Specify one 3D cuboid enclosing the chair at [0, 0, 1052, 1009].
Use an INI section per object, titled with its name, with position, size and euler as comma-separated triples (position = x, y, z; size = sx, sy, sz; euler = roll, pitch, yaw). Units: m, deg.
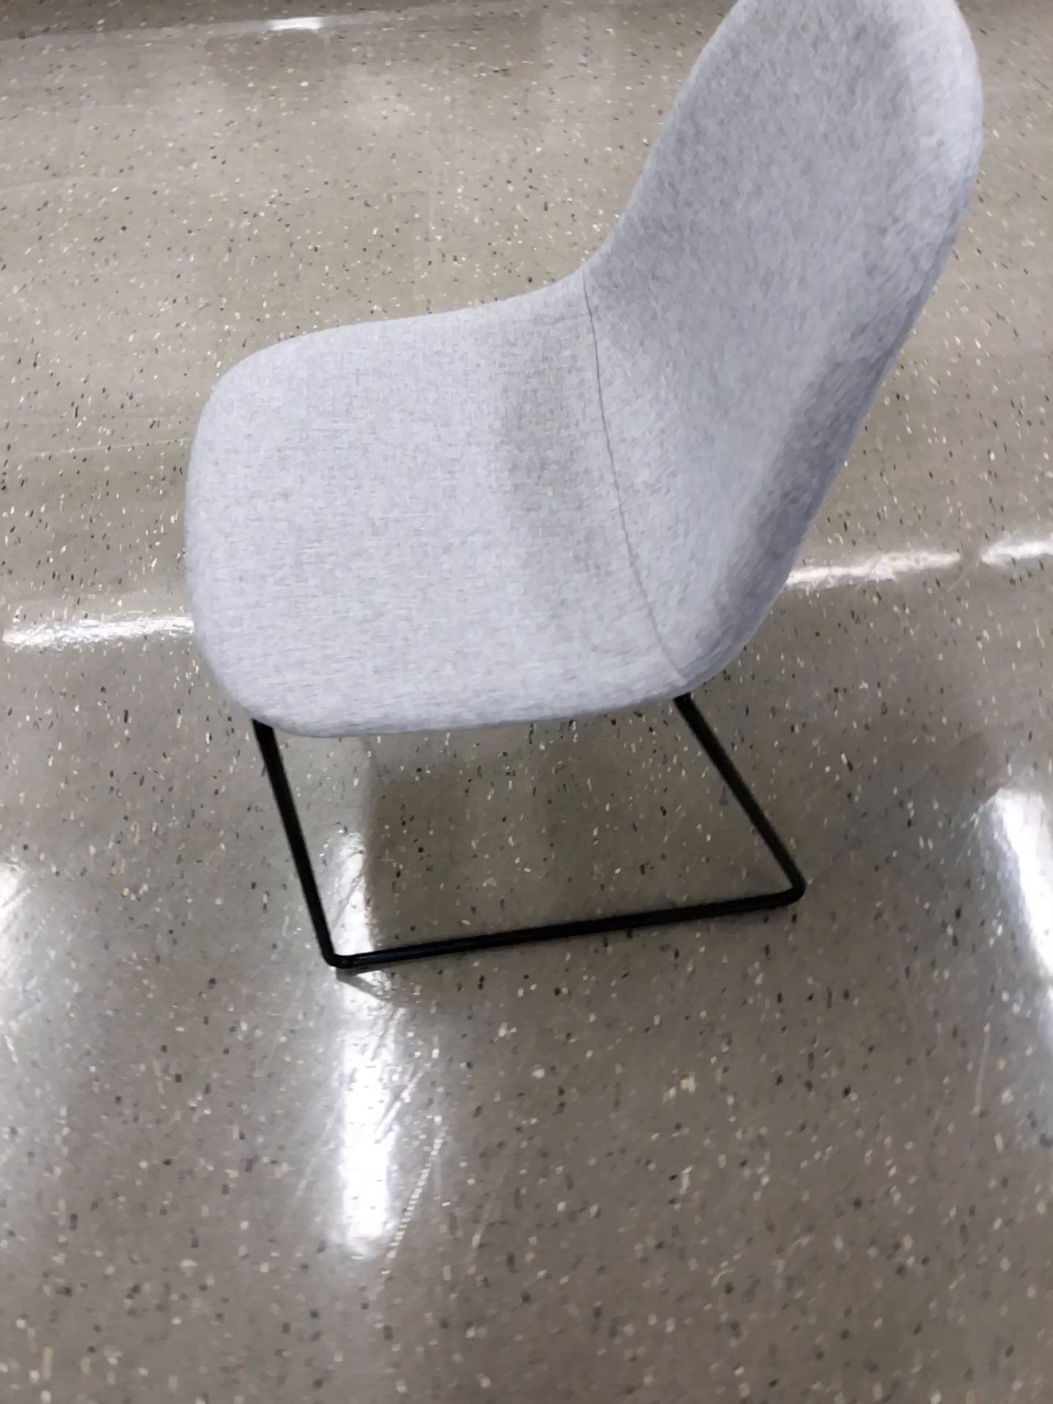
[chair]
position = -0.024, -0.183, 0.976
size = 0.580, 0.779, 0.591
euler = -8, 60, -2
